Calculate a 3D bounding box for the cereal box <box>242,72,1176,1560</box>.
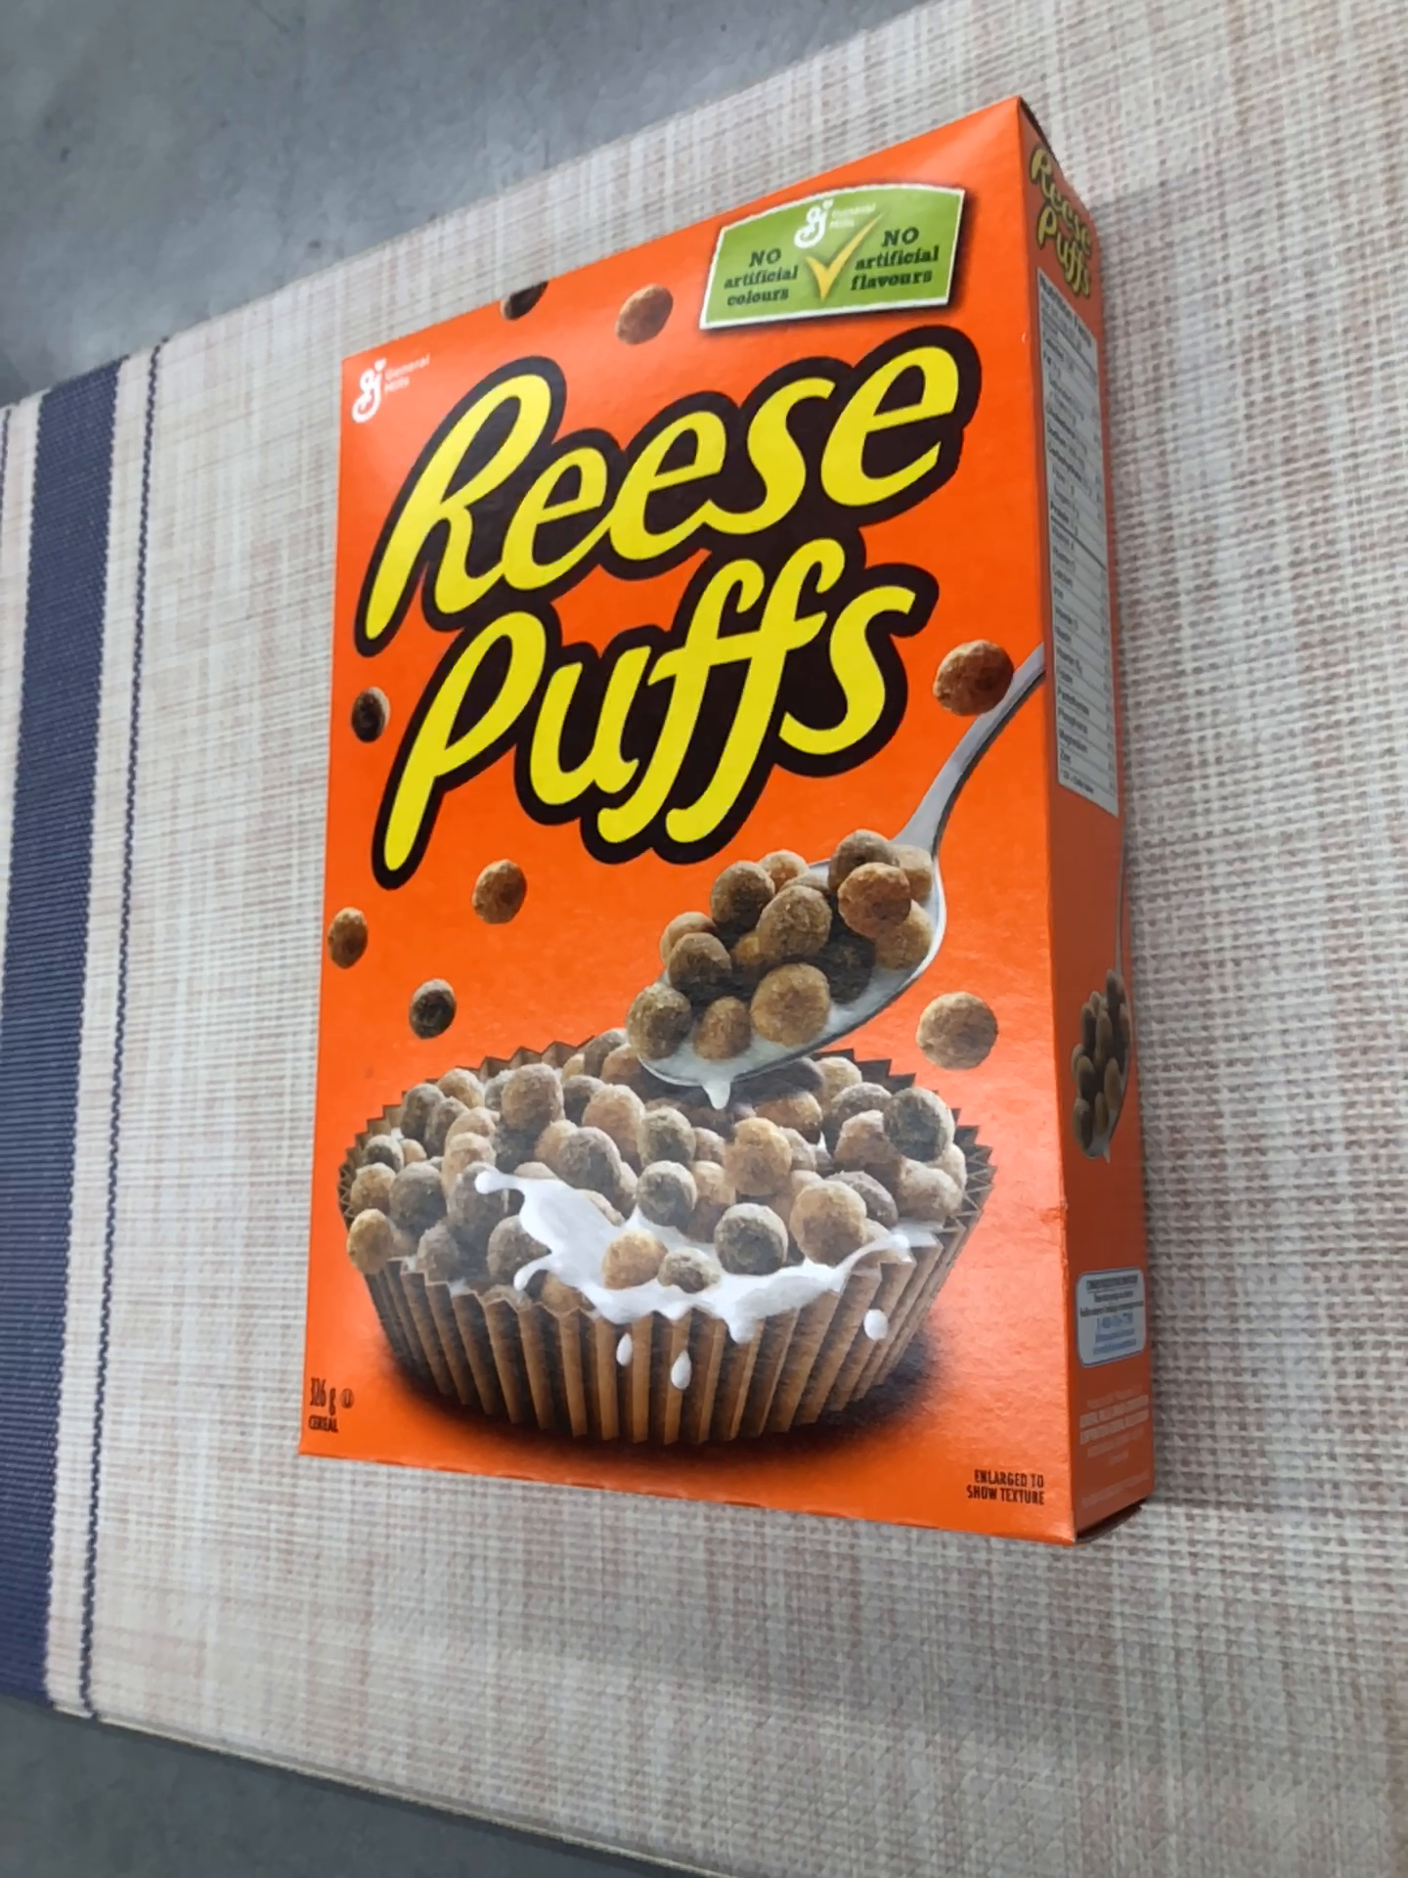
[{"bbox_3d":[-0.008,-0.021,0.361,0.201,0.060,0.280,-6,80,29],"label":"cereal box"}]
